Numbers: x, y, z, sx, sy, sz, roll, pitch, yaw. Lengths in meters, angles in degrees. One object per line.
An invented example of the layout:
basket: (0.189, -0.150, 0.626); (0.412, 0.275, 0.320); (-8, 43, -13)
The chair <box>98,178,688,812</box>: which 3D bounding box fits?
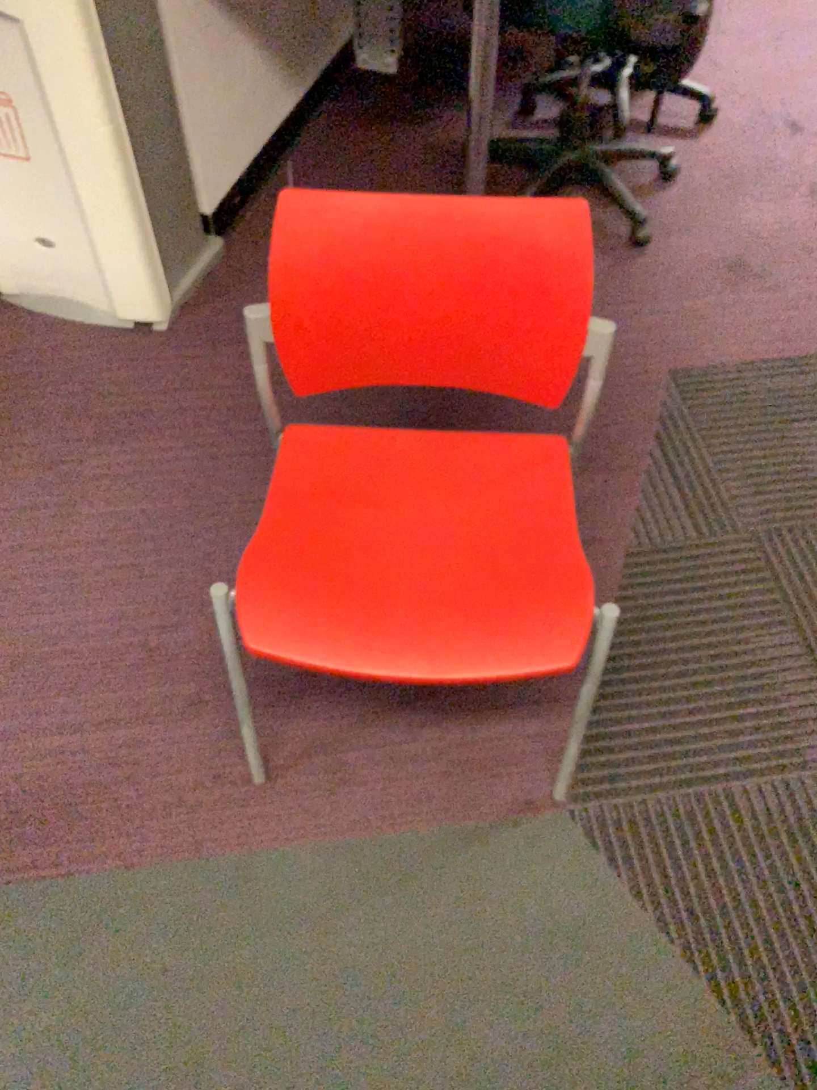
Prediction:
chair: (0.025, -0.044, 1.204); (0.540, 0.684, 0.565); (4, 53, 6)
